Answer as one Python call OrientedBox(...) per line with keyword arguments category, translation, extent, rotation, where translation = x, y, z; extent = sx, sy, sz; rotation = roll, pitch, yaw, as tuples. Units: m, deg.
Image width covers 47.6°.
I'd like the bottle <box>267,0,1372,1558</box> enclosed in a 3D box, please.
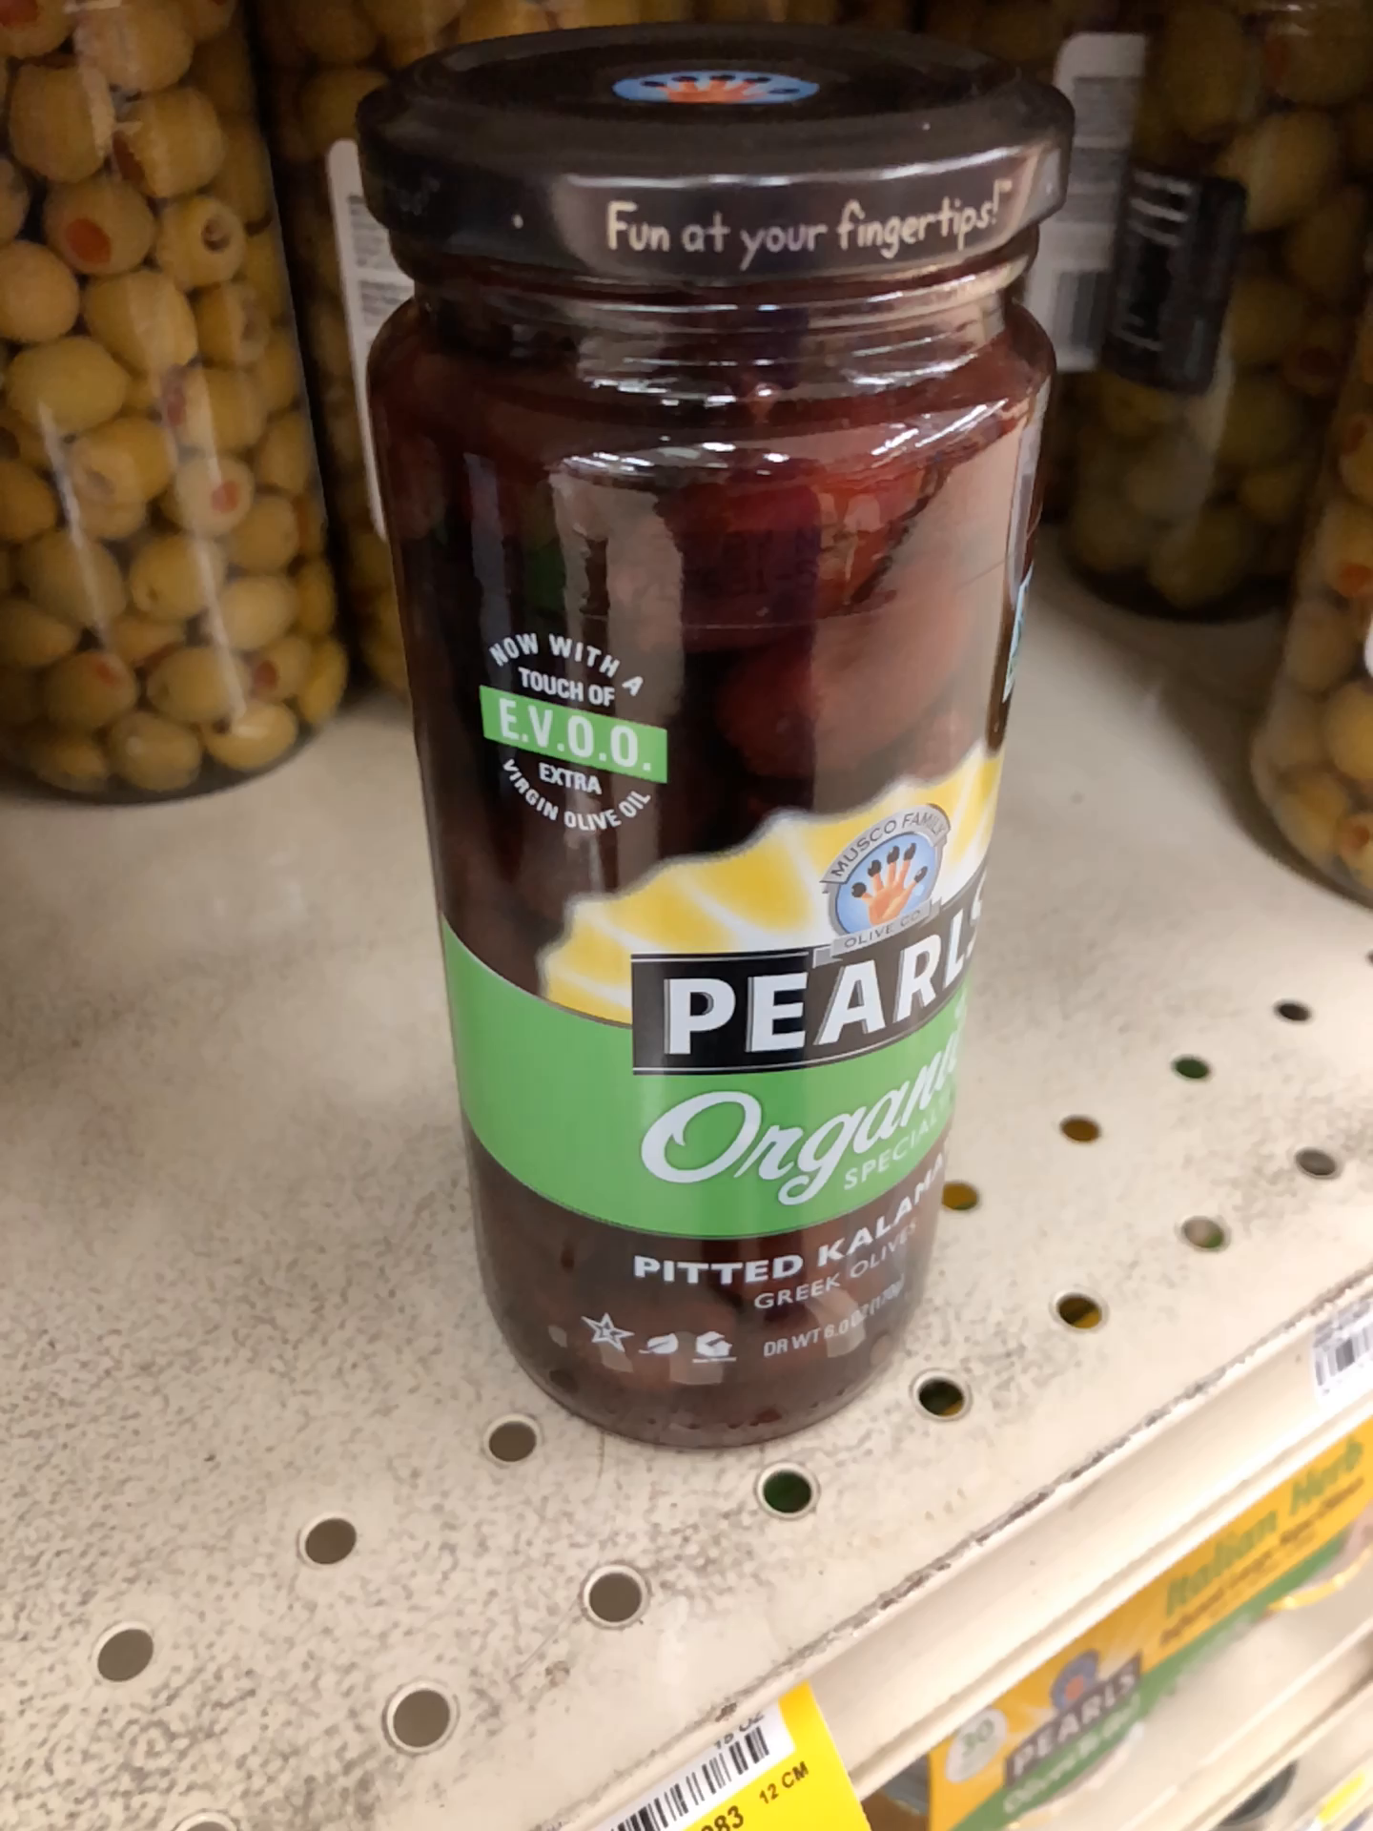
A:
OrientedBox(category="bottle", translation=(0.007, -0.010, 0.166), extent=(0.063, 0.150, 0.060), rotation=(1, 38, -1))
